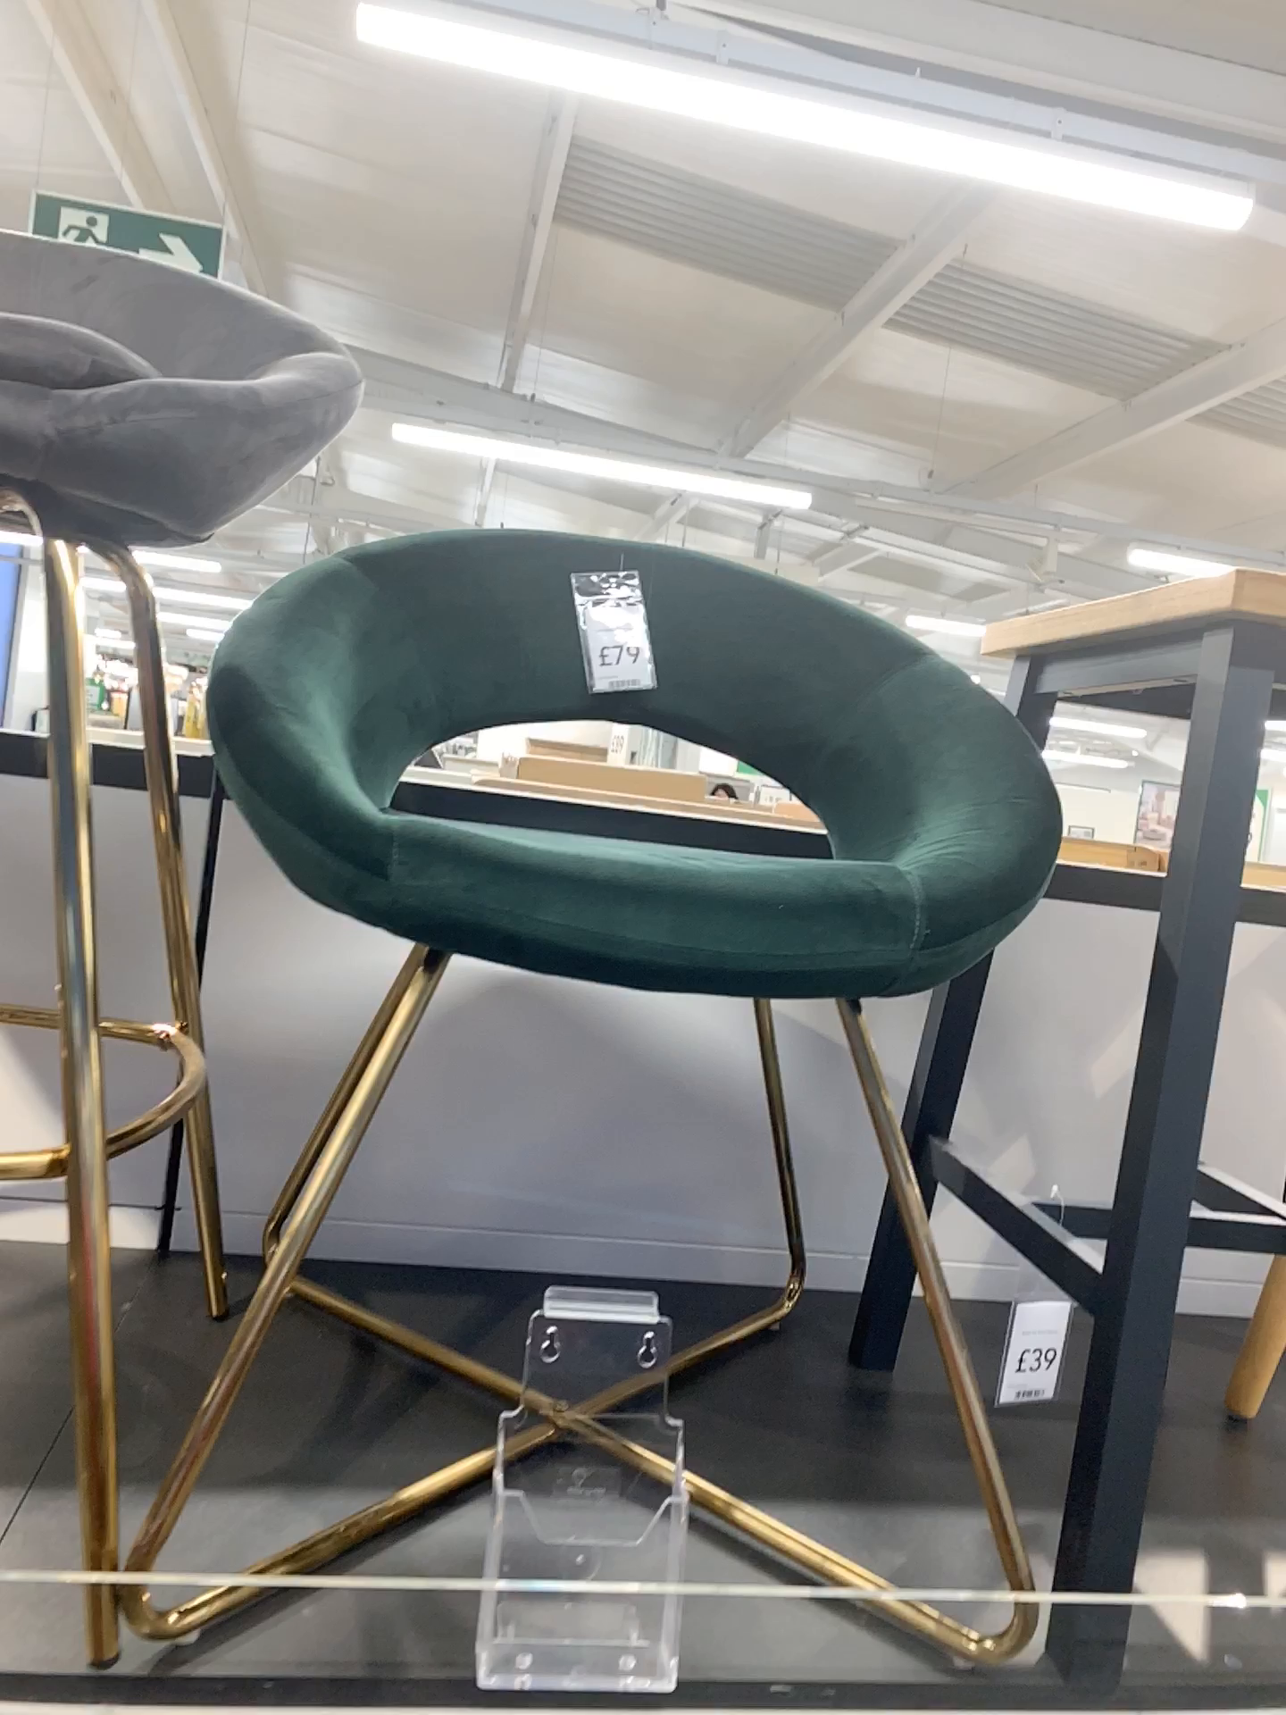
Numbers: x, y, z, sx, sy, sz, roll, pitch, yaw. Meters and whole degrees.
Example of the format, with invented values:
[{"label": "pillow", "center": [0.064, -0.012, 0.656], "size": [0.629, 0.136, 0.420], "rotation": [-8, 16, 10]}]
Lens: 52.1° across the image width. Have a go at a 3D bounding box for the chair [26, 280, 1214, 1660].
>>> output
[{"label": "chair", "center": [-0.042, 0.083, 1.065], "size": [0.629, 0.776, 0.555], "rotation": [7, 2, -11]}]
